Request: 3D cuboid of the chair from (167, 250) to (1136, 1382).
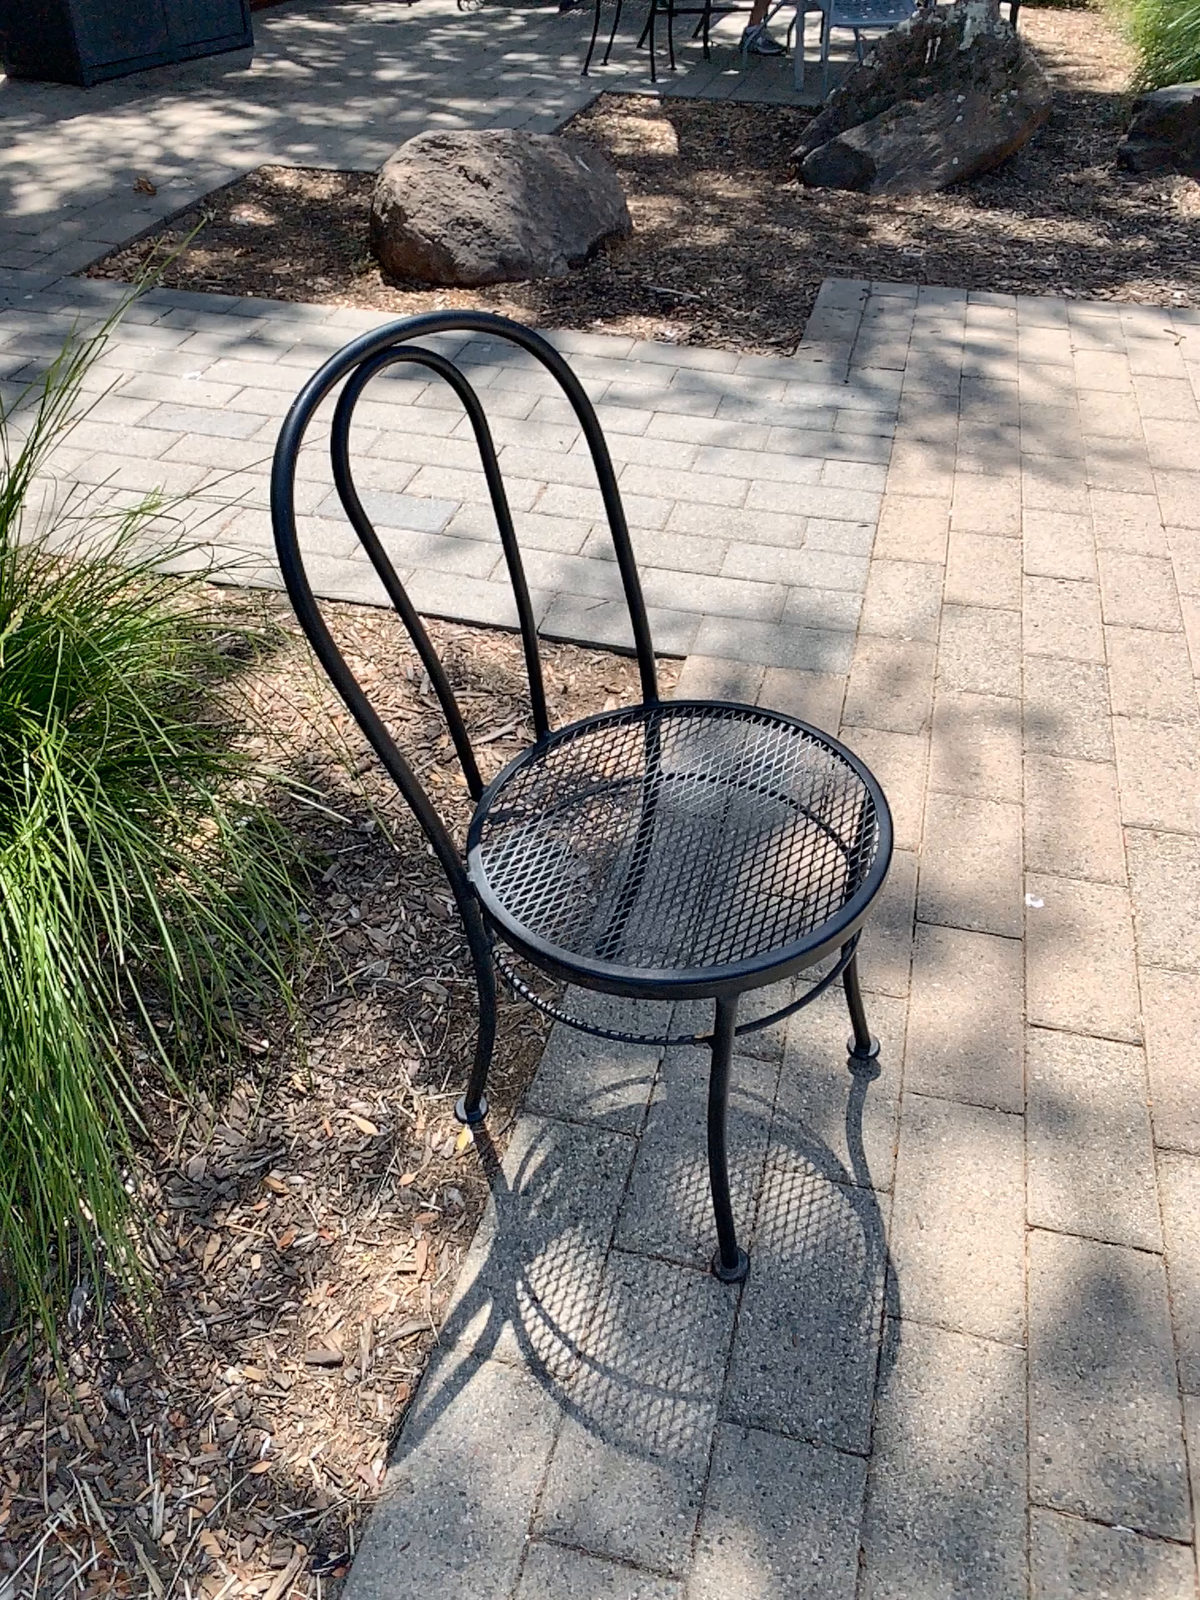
[{"bbox_3d":[0.051,0.009,1.150,0.543,0.788,0.468,21,43,23],"label":"chair"}]
